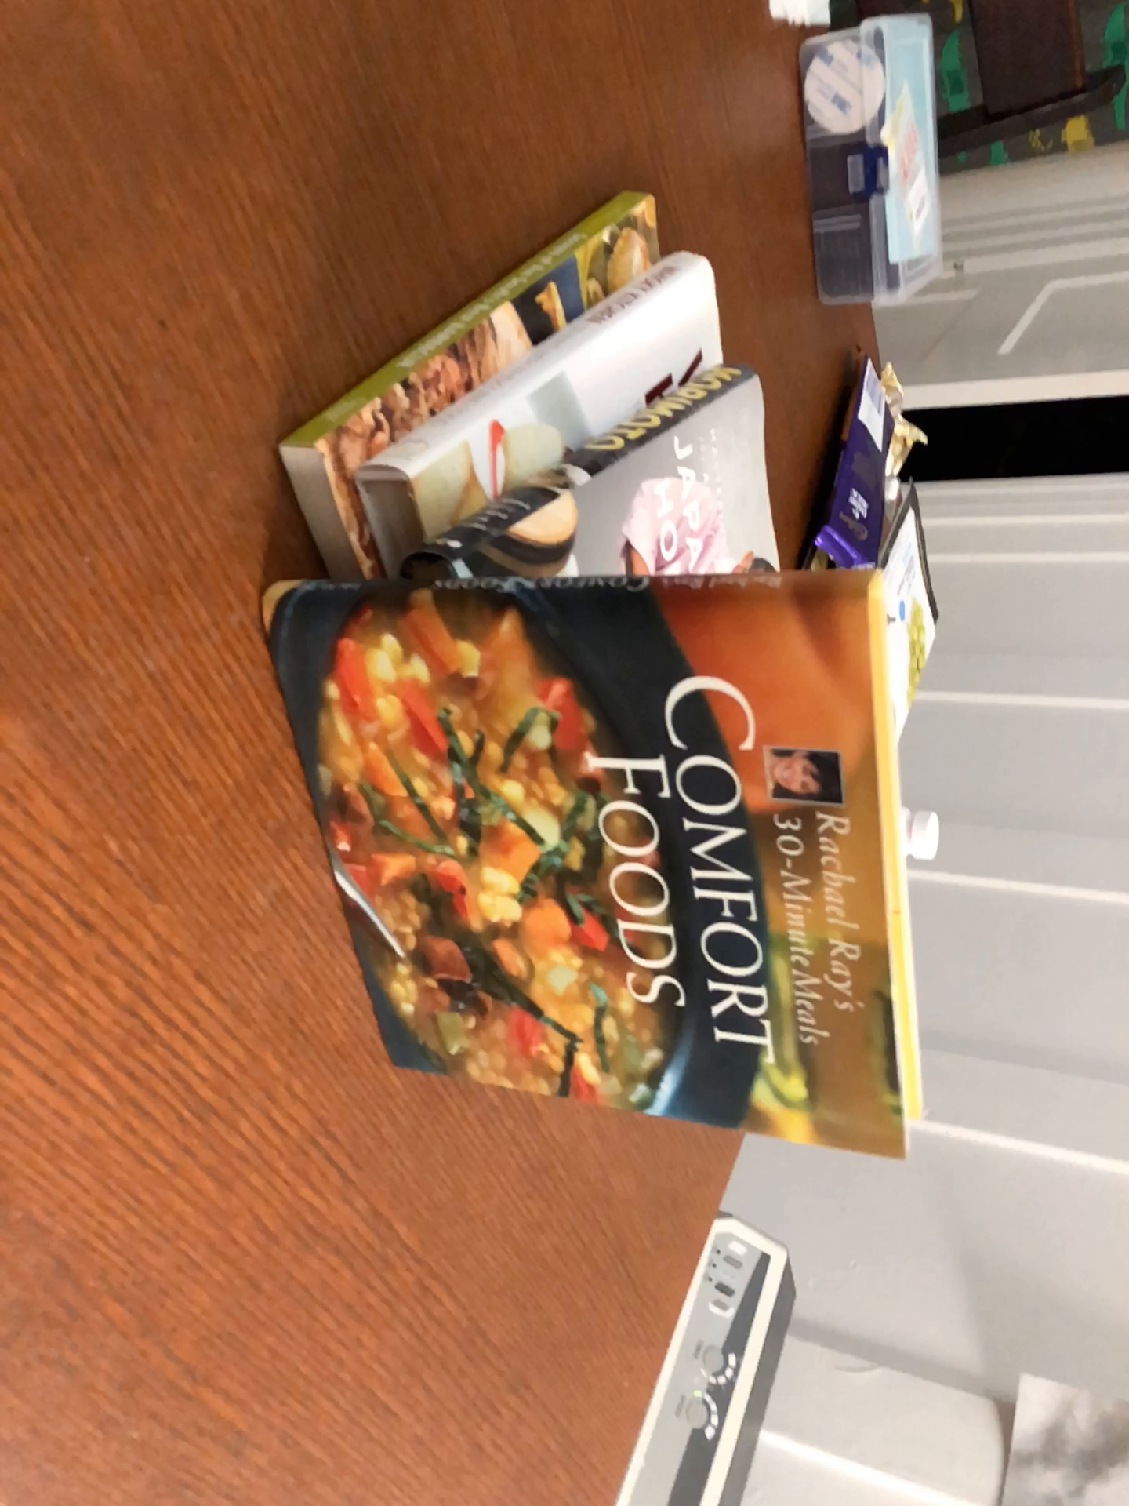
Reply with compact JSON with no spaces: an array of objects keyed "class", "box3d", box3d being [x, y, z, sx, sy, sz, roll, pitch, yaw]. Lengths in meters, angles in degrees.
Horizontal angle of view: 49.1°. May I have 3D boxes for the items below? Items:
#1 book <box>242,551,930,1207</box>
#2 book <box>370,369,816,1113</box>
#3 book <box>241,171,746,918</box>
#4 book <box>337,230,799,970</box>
[{"class":"book","box3d":[0.010,0.039,0.414,0.030,0.209,0.210,-45,133,-52]},{"class":"book","box3d":[0.039,-0.023,0.547,0.281,0.030,0.220,-44,131,-47]},{"class":"book","box3d":[-0.002,-0.104,0.552,0.281,0.030,0.220,-52,136,-42]},{"class":"book","box3d":[0.029,-0.081,0.552,0.281,0.030,0.220,-50,135,-44]}]
